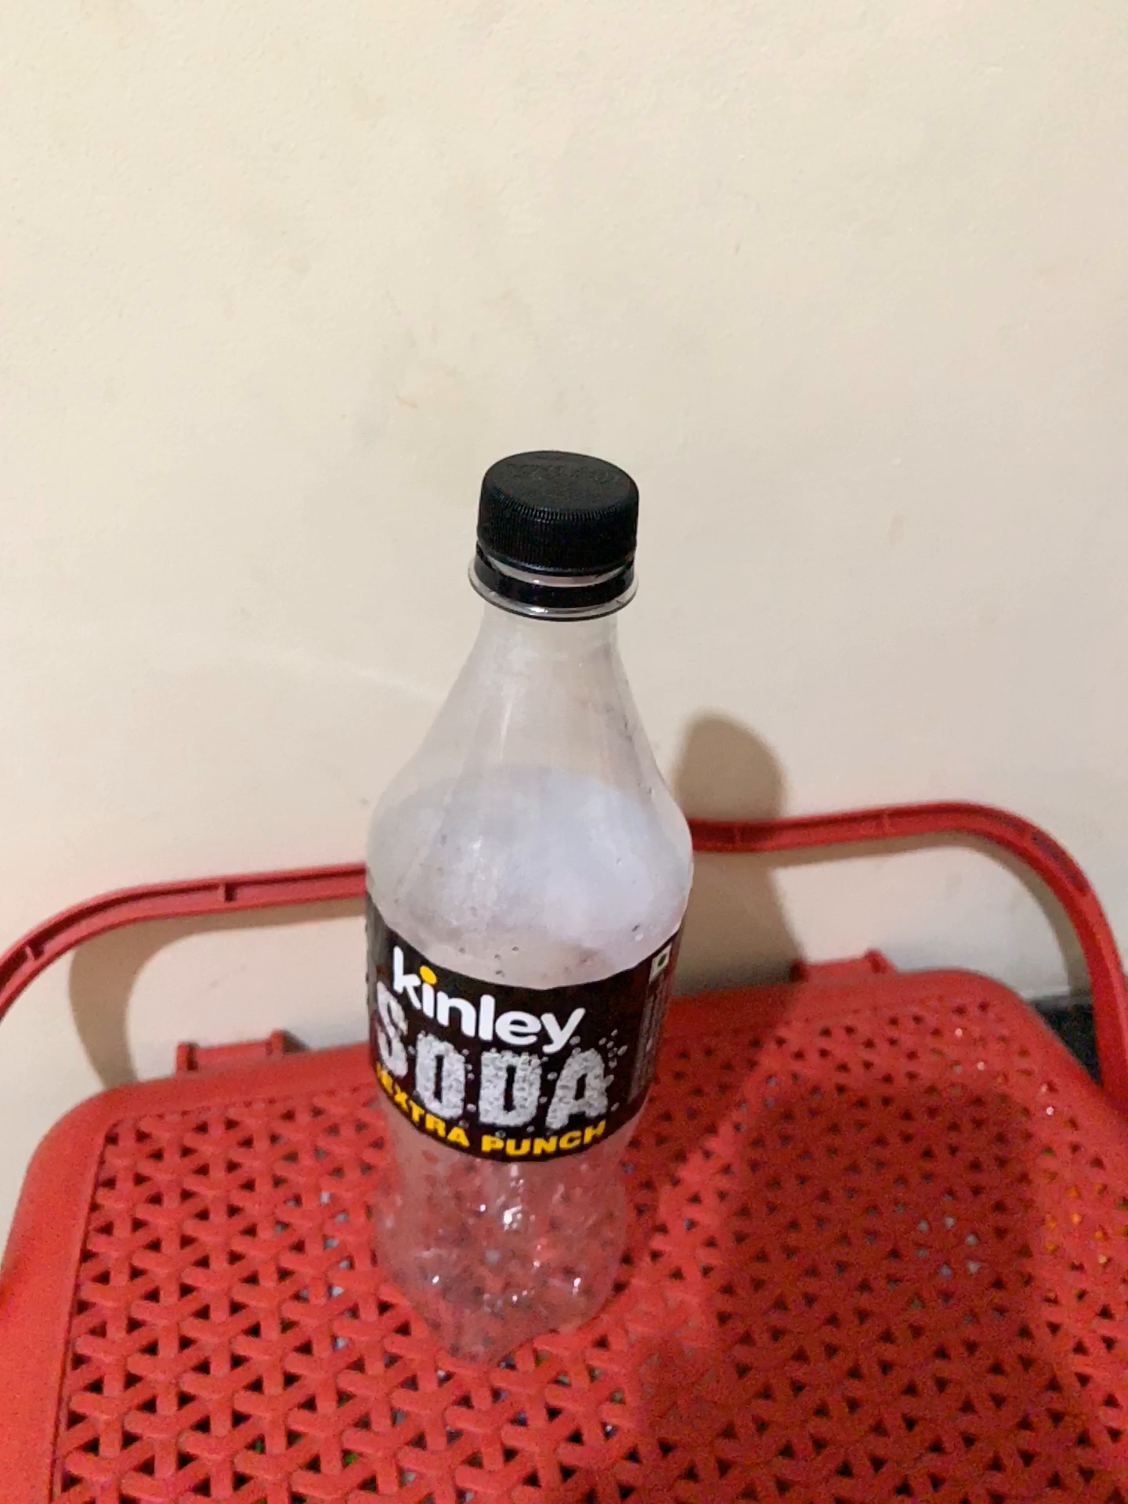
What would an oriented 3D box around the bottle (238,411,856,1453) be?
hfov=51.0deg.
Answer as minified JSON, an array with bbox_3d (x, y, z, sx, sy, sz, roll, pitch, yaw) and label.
[{"bbox_3d":[-0.007,0.056,0.255,0.080,0.228,0.071,13,39,9],"label":"bottle"}]
